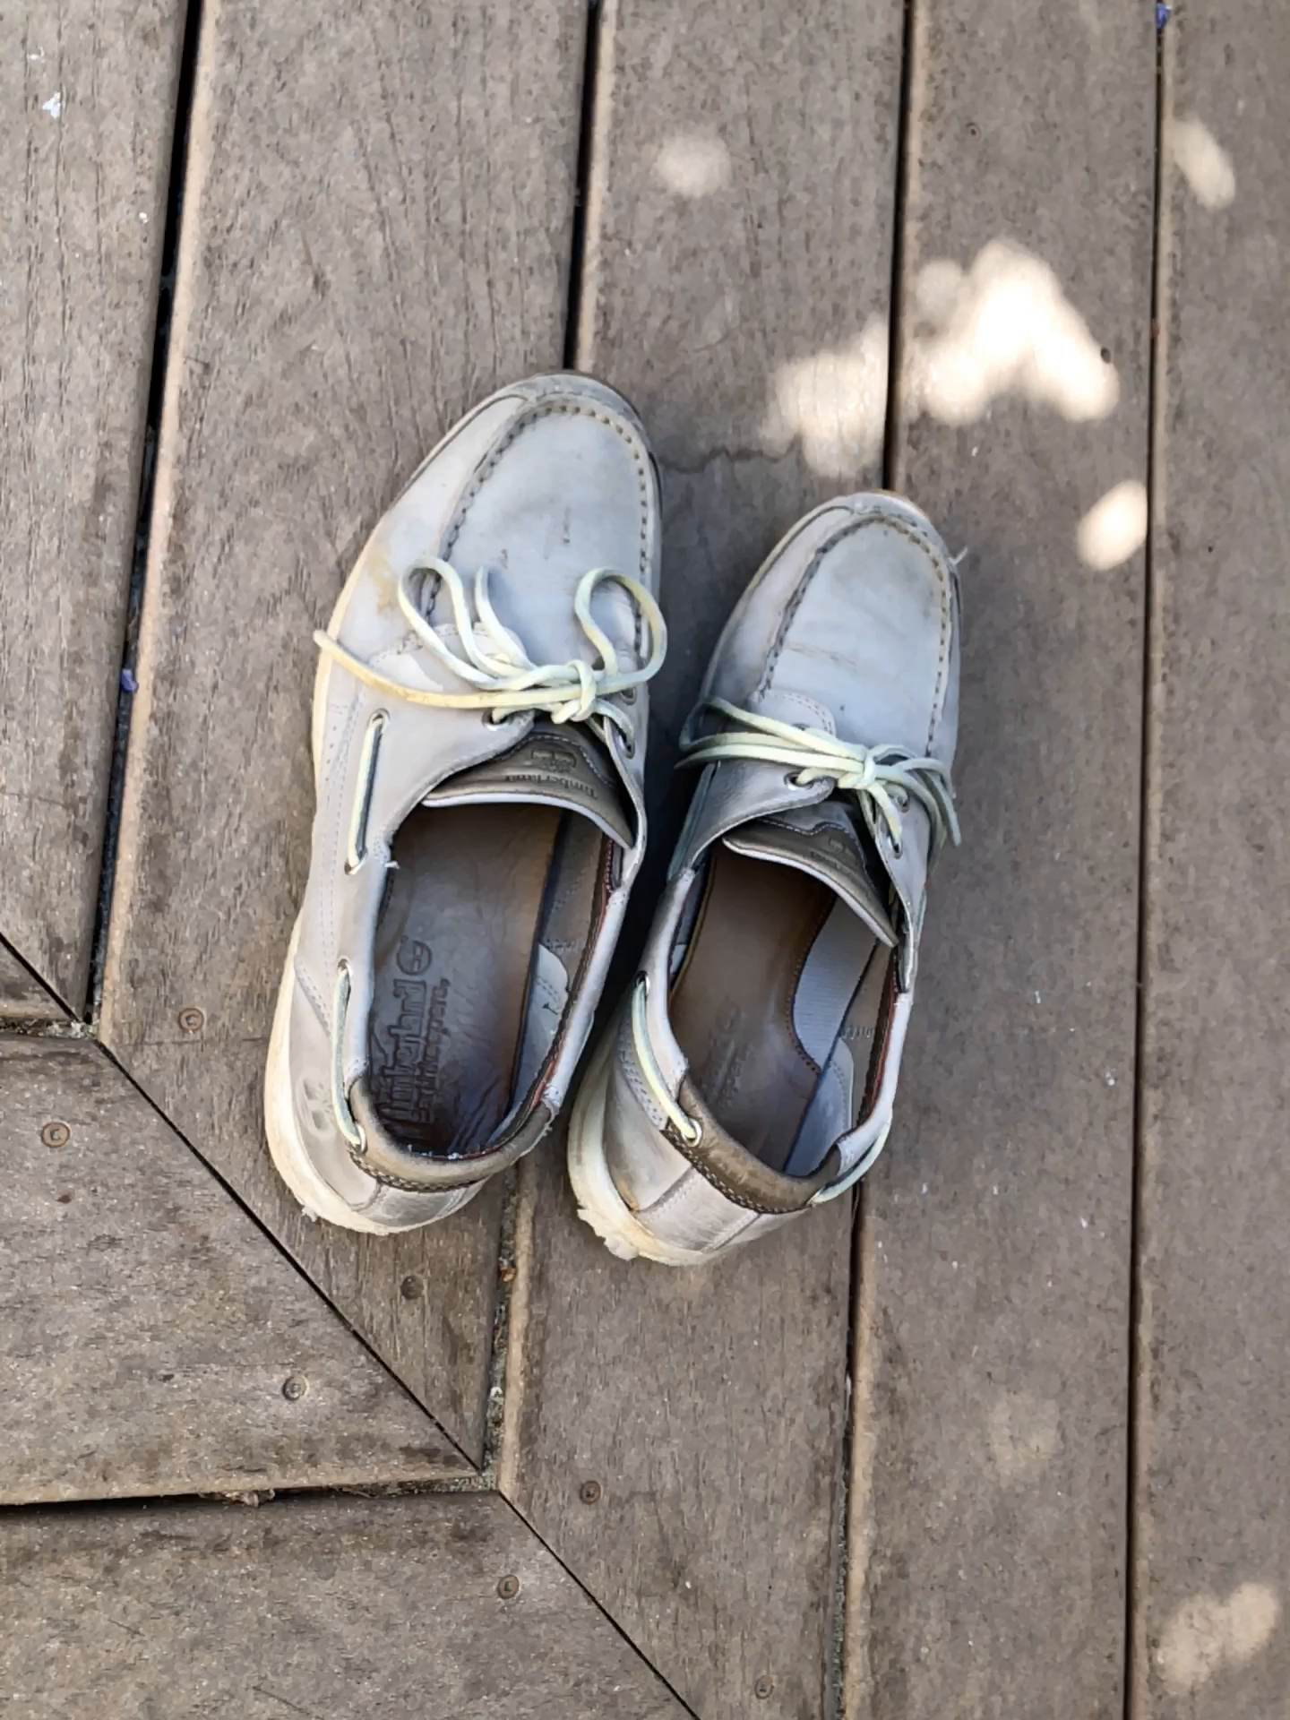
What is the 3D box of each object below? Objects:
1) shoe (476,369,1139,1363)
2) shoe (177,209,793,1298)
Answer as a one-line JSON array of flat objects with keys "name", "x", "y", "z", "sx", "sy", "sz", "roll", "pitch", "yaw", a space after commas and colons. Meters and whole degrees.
[{"name": "shoe", "x": 0.063, "y": 0.001, "z": 0.521, "sx": 0.122, "sy": 0.097, "sz": 0.312, "roll": 25, "pitch": 74, "yaw": -20}, {"name": "shoe", "x": -0.051, "y": -0.030, "z": 0.472, "sx": 0.119, "sy": 0.096, "sz": 0.310, "roll": 15, "pitch": 78, "yaw": -23}]
